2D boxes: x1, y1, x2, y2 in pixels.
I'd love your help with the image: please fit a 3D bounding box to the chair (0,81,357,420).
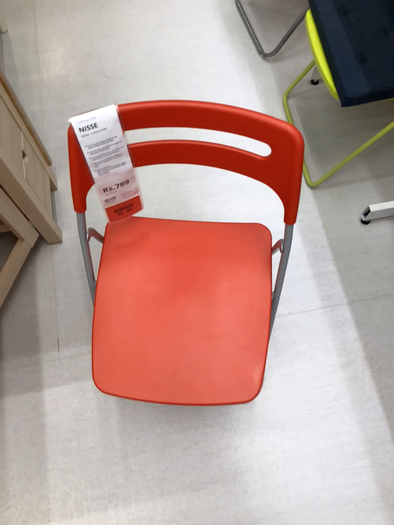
[{"bbox_3d":[-0.019,0.050,0.896,0.450,0.608,0.491,3,69,1],"label":"chair"}]
